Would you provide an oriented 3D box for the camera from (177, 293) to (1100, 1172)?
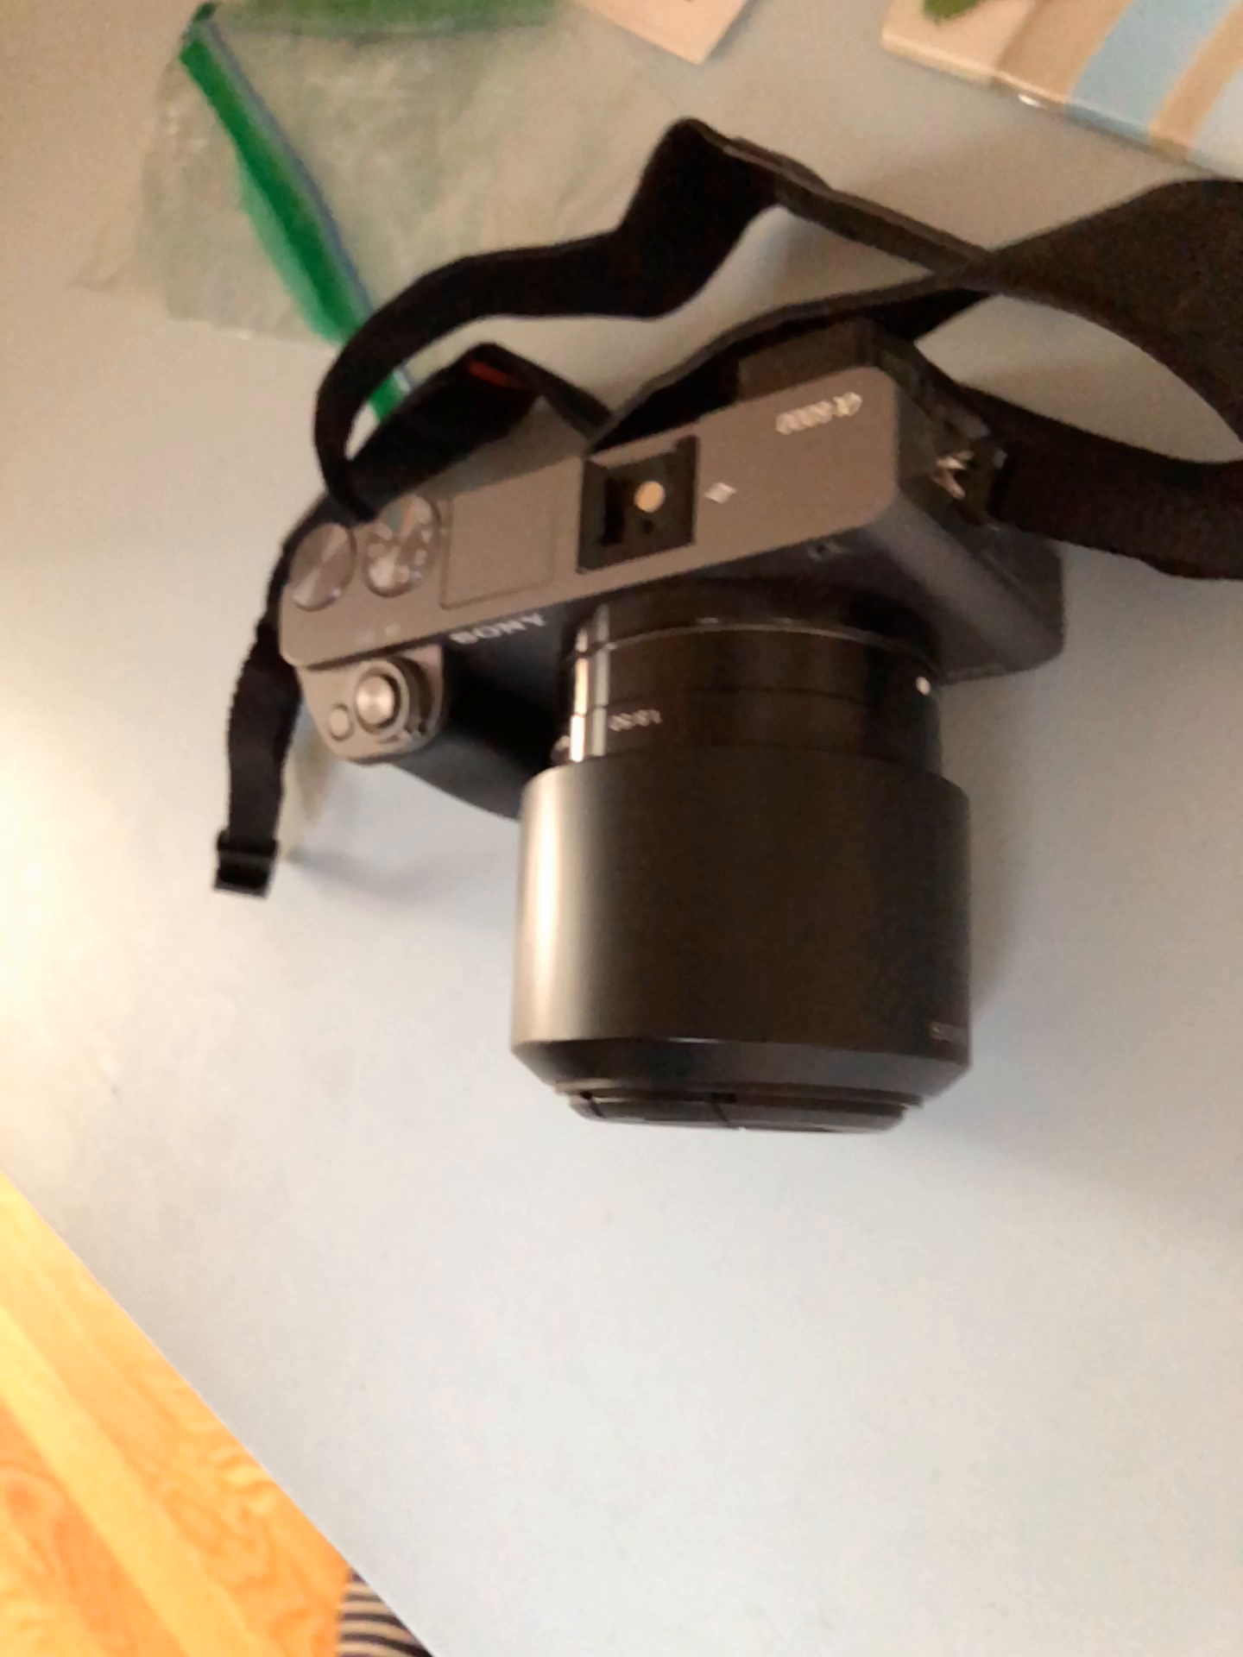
[{"bbox_3d":[0.002,-0.003,0.234,0.131,0.070,0.110,-6,75,35],"label":"camera"}]
